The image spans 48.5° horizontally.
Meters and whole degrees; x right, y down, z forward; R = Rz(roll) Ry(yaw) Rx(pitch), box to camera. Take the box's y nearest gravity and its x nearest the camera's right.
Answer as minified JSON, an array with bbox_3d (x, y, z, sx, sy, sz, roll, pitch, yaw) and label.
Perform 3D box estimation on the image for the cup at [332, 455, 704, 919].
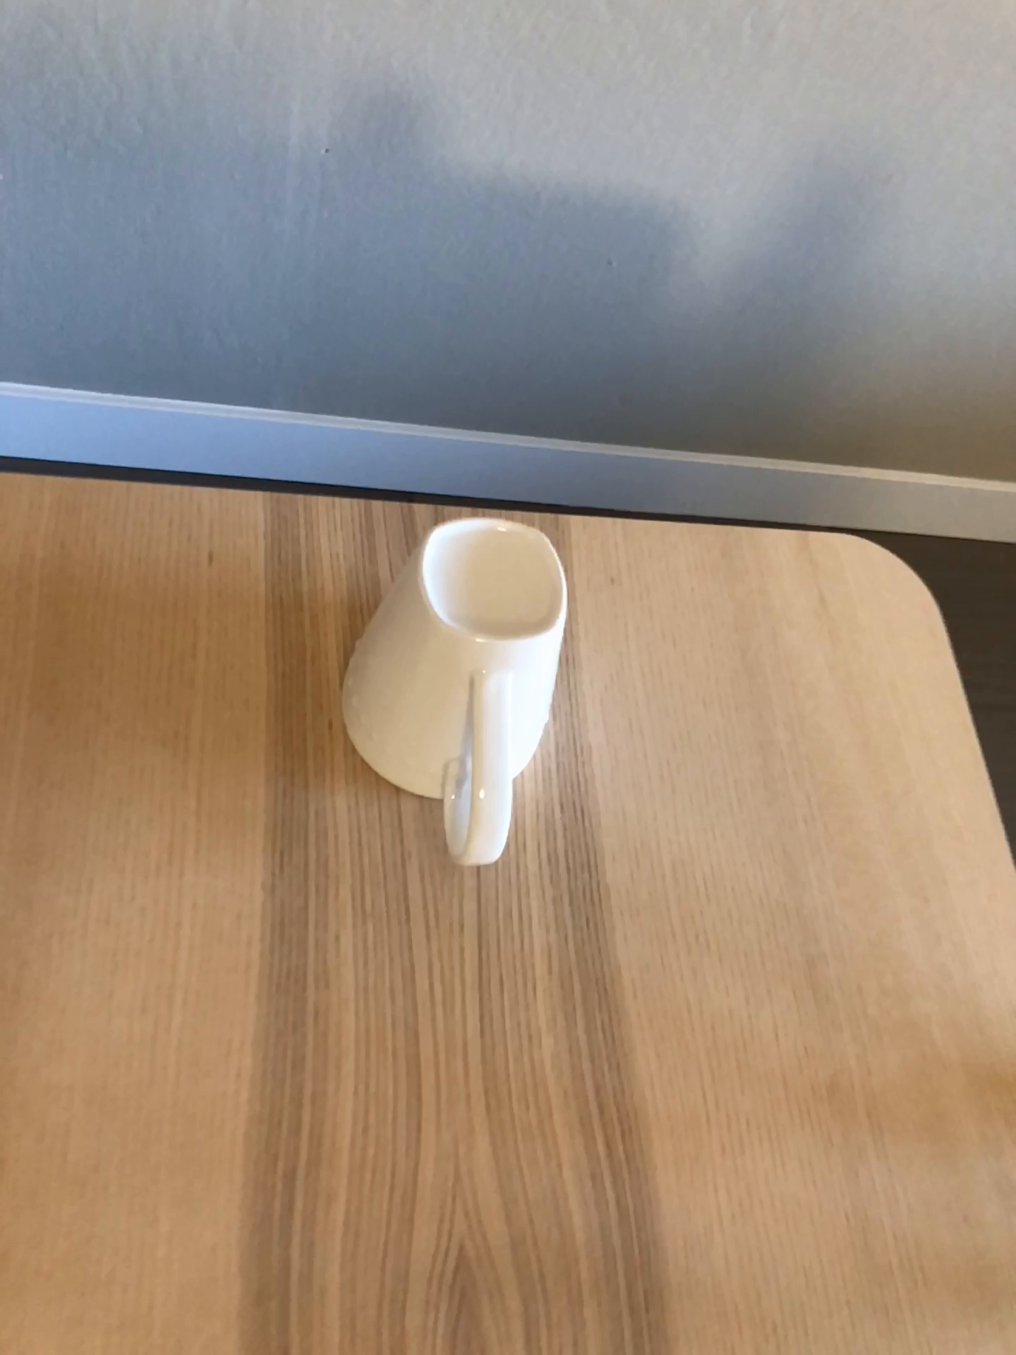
[{"bbox_3d":[-0.007,0.006,0.452,0.100,0.120,0.140,-2,62,-17],"label":"cup"}]
